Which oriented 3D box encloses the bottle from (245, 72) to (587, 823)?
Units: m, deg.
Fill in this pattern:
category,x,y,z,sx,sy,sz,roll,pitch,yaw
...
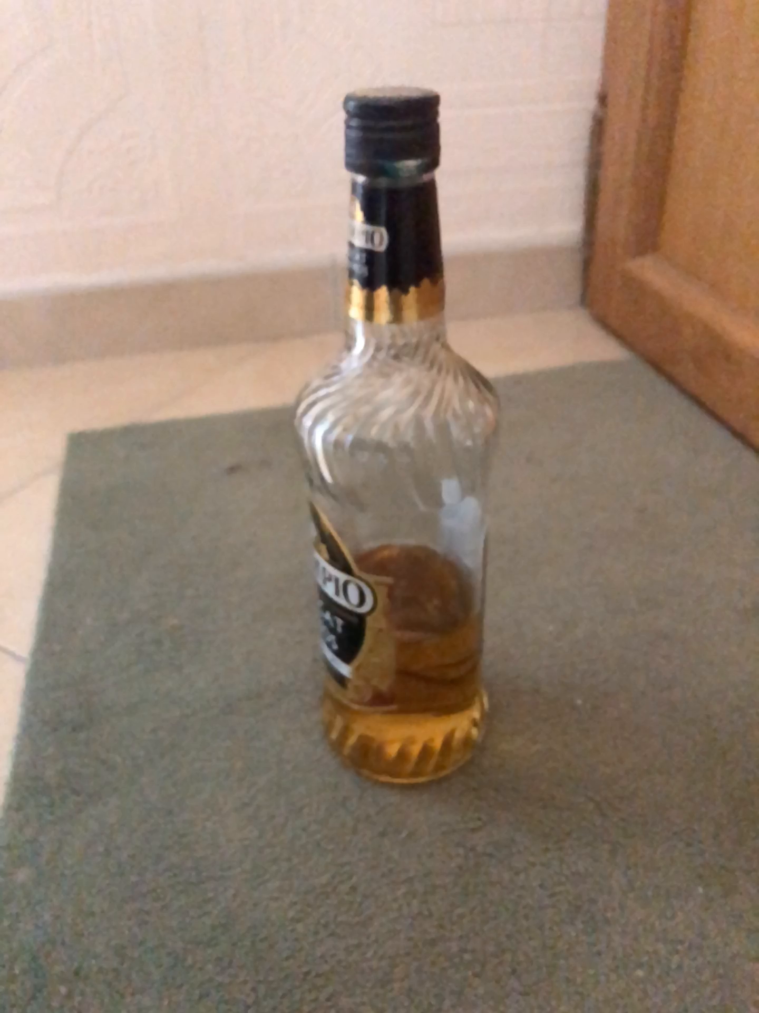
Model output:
category,x,y,z,sx,sy,sz,roll,pitch,yaw
bottle,0.010,-0.008,0.346,0.090,0.288,0.090,-2,34,1
